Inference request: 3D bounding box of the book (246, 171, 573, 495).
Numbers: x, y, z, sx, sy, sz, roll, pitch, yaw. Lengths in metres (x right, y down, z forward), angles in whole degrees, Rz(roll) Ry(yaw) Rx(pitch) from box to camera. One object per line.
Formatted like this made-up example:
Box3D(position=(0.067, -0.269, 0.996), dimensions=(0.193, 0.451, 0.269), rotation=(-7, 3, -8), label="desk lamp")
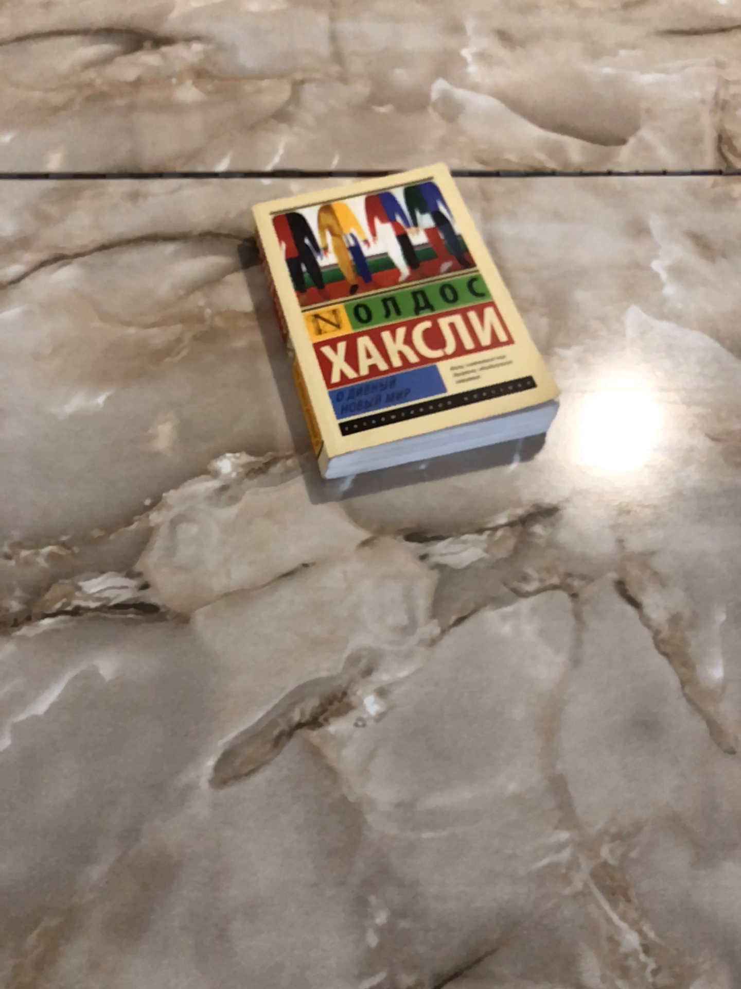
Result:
Box3D(position=(0.013, -0.095, 0.437), dimensions=(0.120, 0.020, 0.185), rotation=(-14, 59, -8), label="book")
